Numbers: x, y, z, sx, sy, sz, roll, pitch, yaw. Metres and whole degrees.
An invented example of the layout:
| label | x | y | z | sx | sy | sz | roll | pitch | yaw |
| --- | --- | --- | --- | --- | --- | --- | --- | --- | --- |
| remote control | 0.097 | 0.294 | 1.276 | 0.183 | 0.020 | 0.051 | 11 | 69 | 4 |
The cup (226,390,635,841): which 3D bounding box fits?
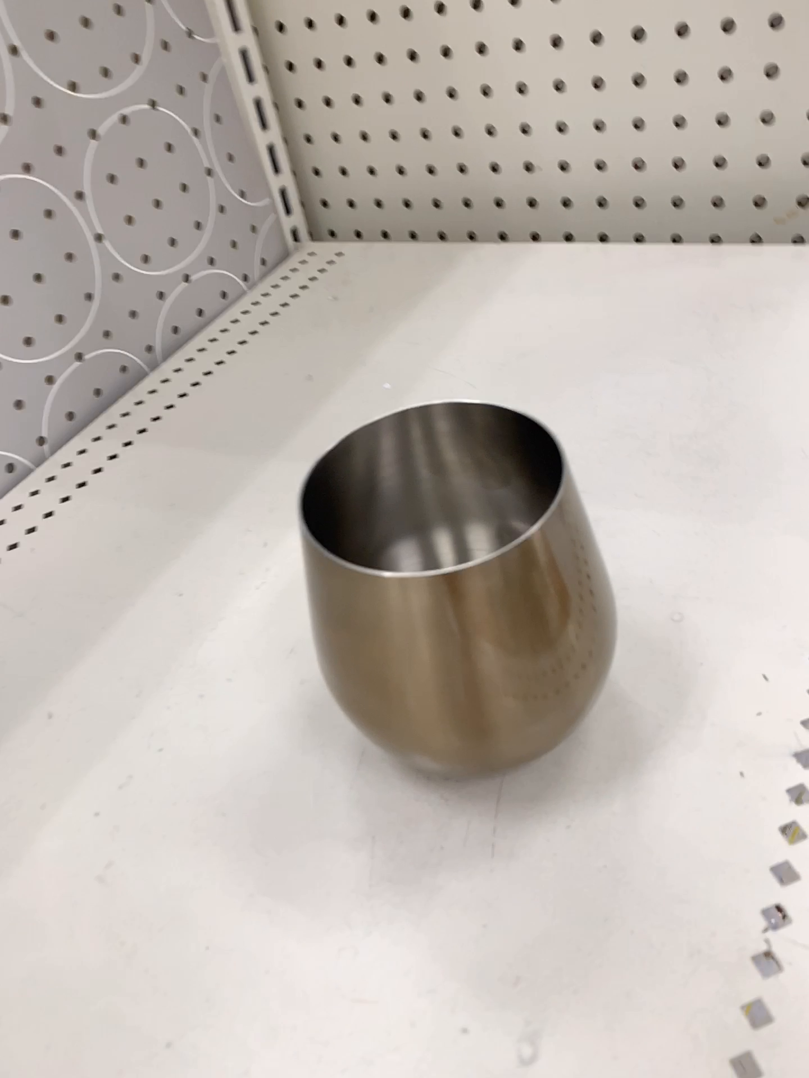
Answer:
| label | x | y | z | sx | sy | sz | roll | pitch | yaw |
| --- | --- | --- | --- | --- | --- | --- | --- | --- | --- |
| cup | 0.017 | 0.019 | 0.249 | 0.084 | 0.089 | 0.082 | -8 | 41 | 7 |
